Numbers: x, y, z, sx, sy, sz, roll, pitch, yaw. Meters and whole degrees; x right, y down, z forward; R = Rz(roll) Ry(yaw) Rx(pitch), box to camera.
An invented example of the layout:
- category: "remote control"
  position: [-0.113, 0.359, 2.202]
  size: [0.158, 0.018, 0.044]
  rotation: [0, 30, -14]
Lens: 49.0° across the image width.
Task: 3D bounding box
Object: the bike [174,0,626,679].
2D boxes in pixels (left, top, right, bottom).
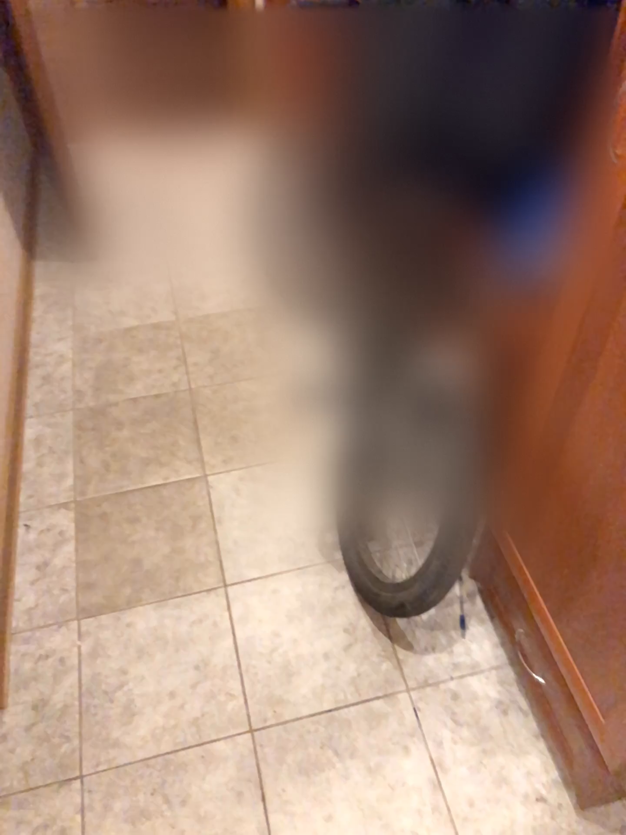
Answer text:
- category: "bike"
  position: [0.103, -0.348, 1.413]
  size: [0.526, 0.853, 1.359]
  rotation: [-9, 50, -7]
